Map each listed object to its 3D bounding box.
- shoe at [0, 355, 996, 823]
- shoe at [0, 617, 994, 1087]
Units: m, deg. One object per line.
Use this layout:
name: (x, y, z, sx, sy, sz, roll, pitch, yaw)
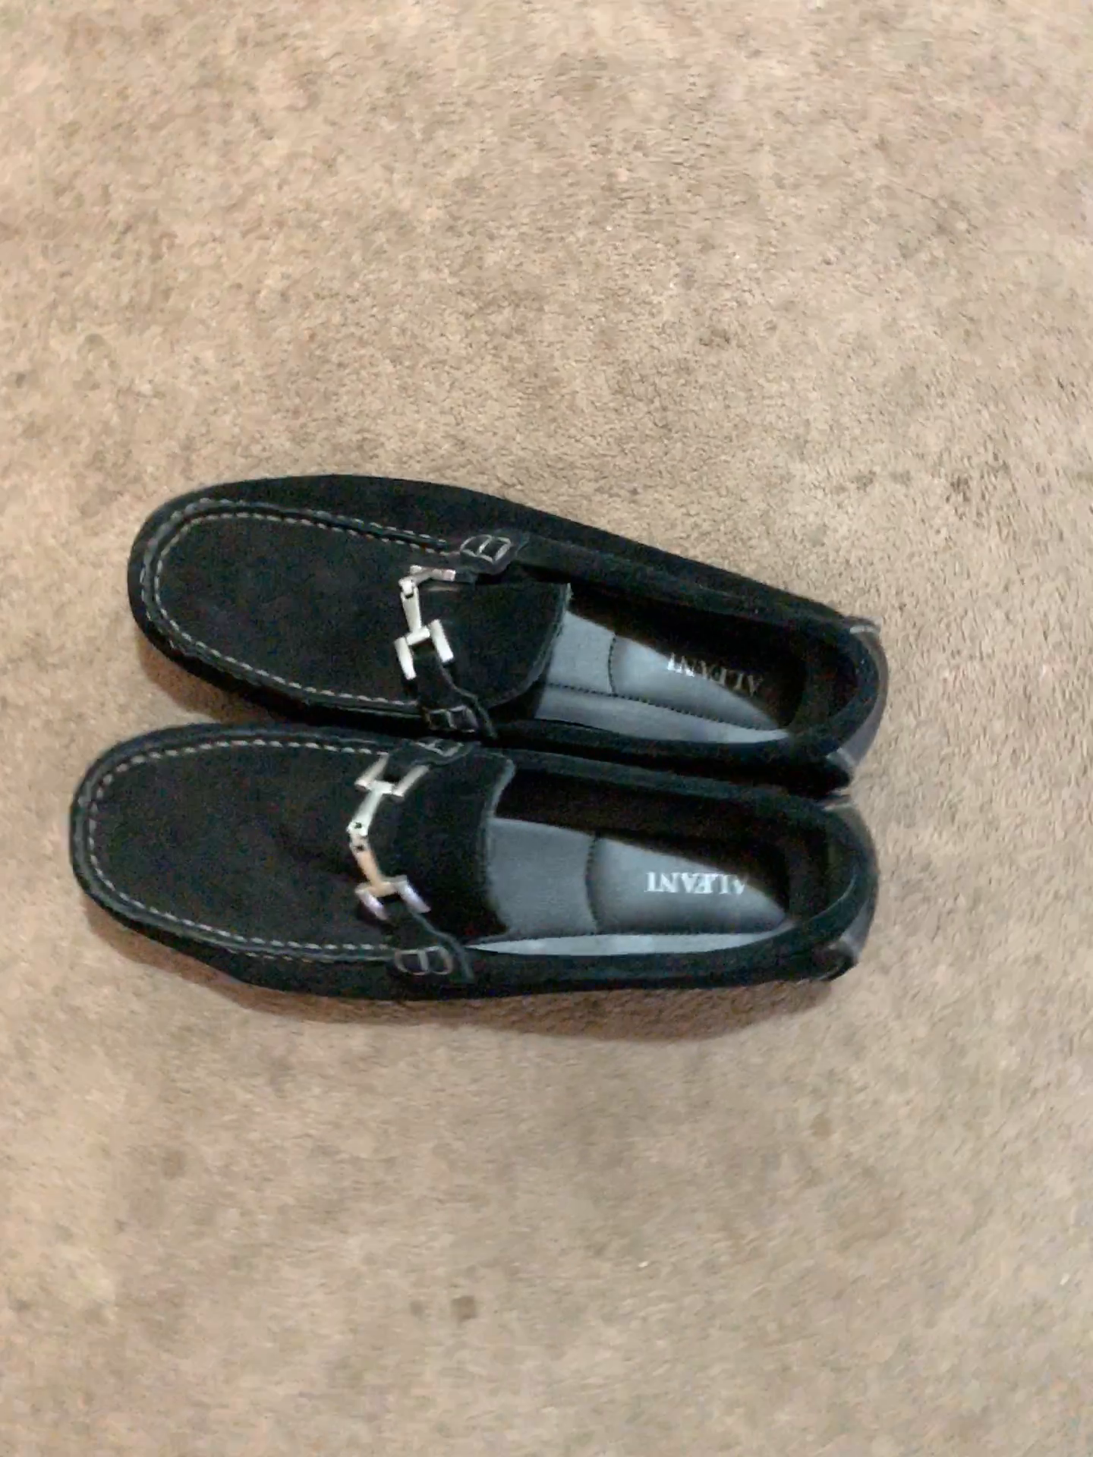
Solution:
shoe: (-0.011, -0.041, 0.409, 0.310, 0.100, 0.100, 8, 78, -3)
shoe: (-0.022, 0.046, 0.384, 0.310, 0.100, 0.100, 8, 78, -3)
